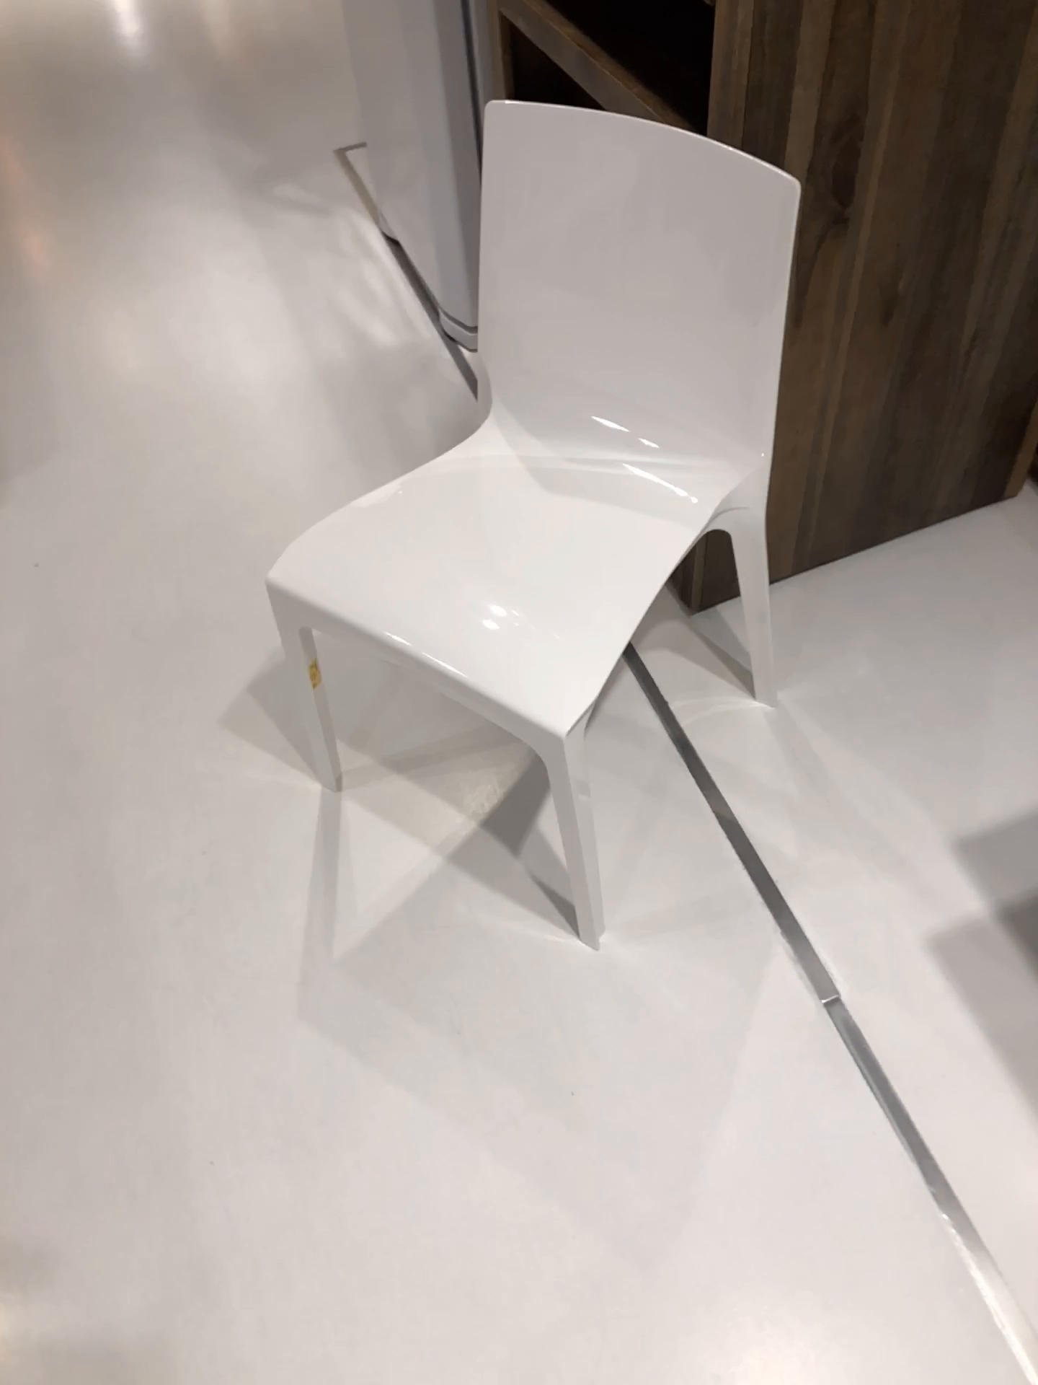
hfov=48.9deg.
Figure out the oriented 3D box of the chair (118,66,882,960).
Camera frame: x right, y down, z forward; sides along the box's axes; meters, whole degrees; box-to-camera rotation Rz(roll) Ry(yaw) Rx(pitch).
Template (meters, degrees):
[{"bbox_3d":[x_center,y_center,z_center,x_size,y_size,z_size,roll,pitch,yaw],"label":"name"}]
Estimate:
[{"bbox_3d":[0.018,-0.178,1.327,0.481,0.755,0.522,26,59,23],"label":"chair"}]
